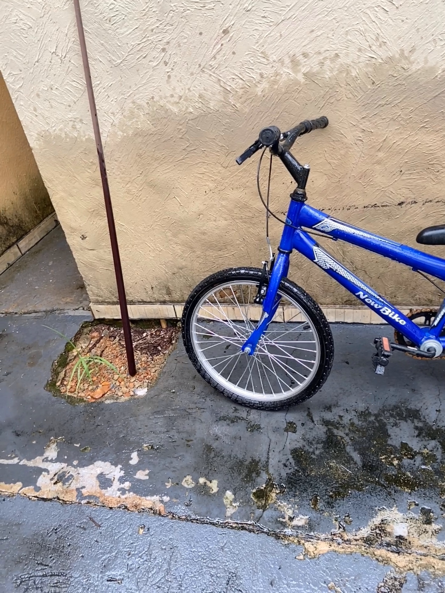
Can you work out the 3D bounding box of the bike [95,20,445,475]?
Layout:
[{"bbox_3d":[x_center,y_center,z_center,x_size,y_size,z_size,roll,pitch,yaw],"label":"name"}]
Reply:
[{"bbox_3d":[0.476,-0.123,1.160,1.249,0.849,0.546,1,35,14],"label":"bike"}]
